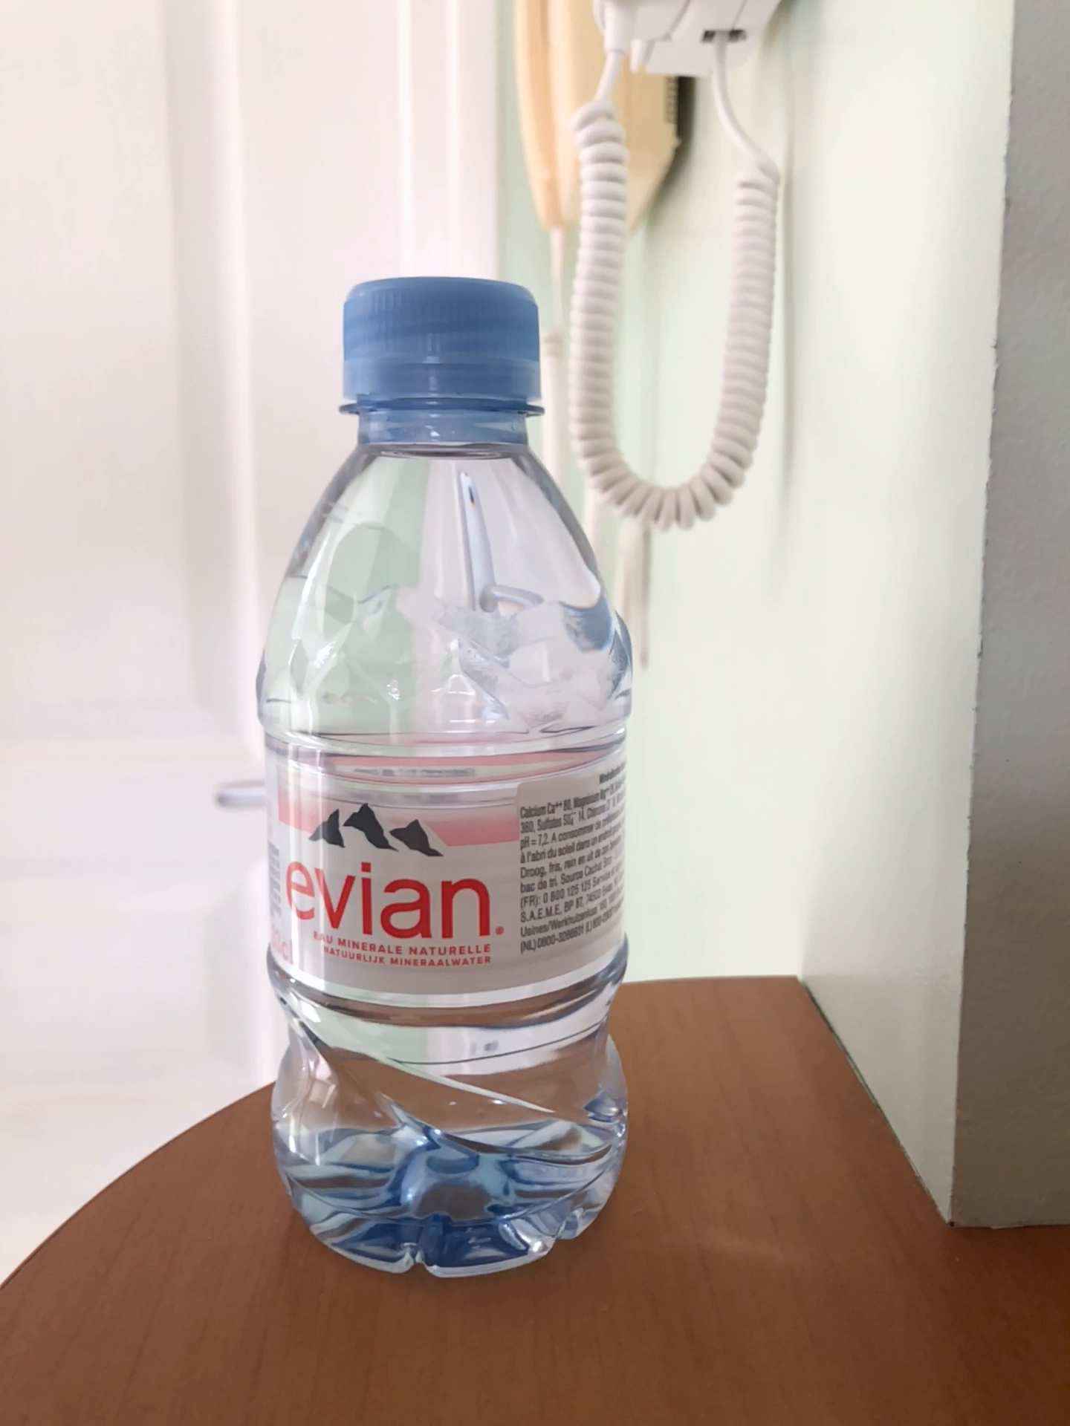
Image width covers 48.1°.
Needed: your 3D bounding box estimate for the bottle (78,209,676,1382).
[{"bbox_3d":[-0.020,0.009,0.203,0.070,0.160,0.070,0,9,0],"label":"bottle"}]
